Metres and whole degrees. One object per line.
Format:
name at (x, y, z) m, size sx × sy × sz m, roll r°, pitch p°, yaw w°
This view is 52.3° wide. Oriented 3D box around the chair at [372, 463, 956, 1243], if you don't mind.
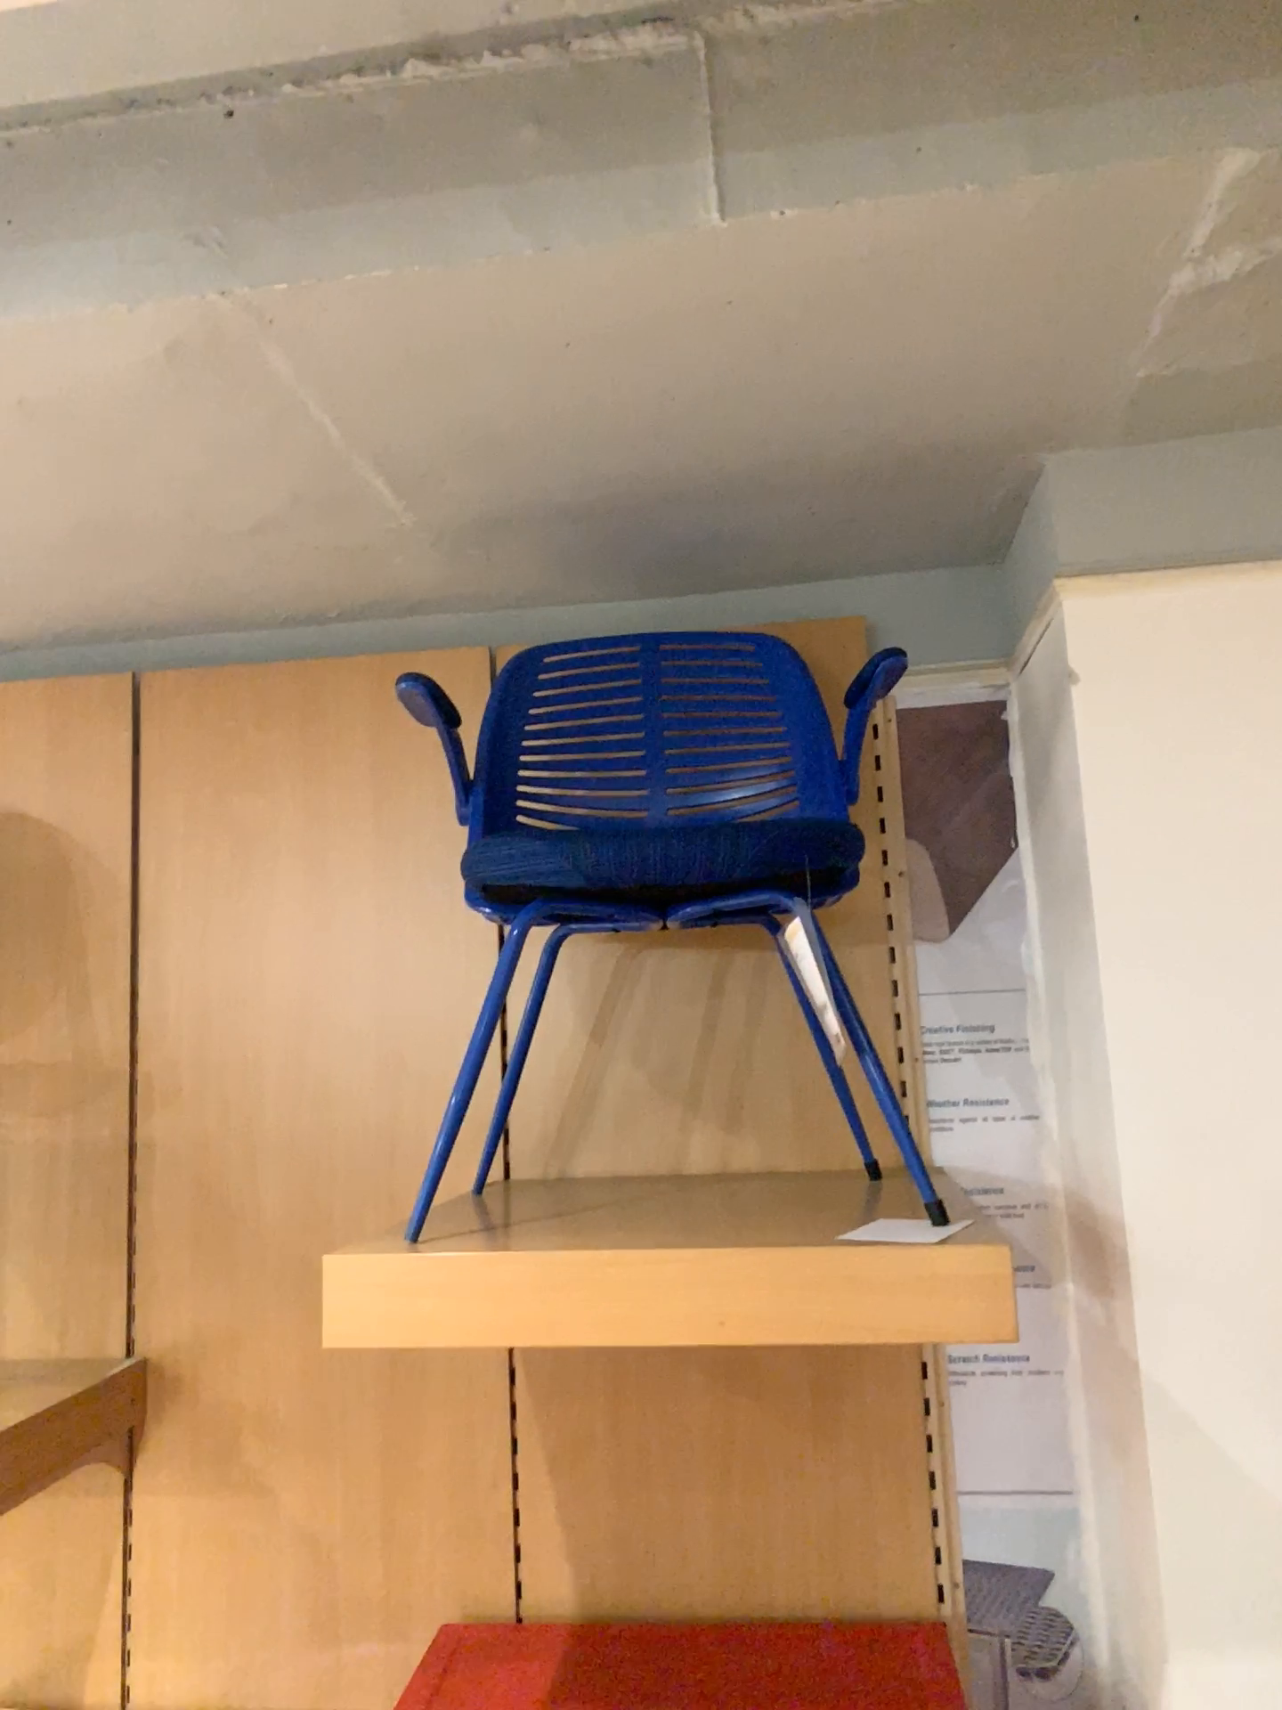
chair at (0.022, 0.022, 1.632) m, size 0.570 × 0.791 × 0.549 m, roll -3°, pitch -8°, yaw 3°
